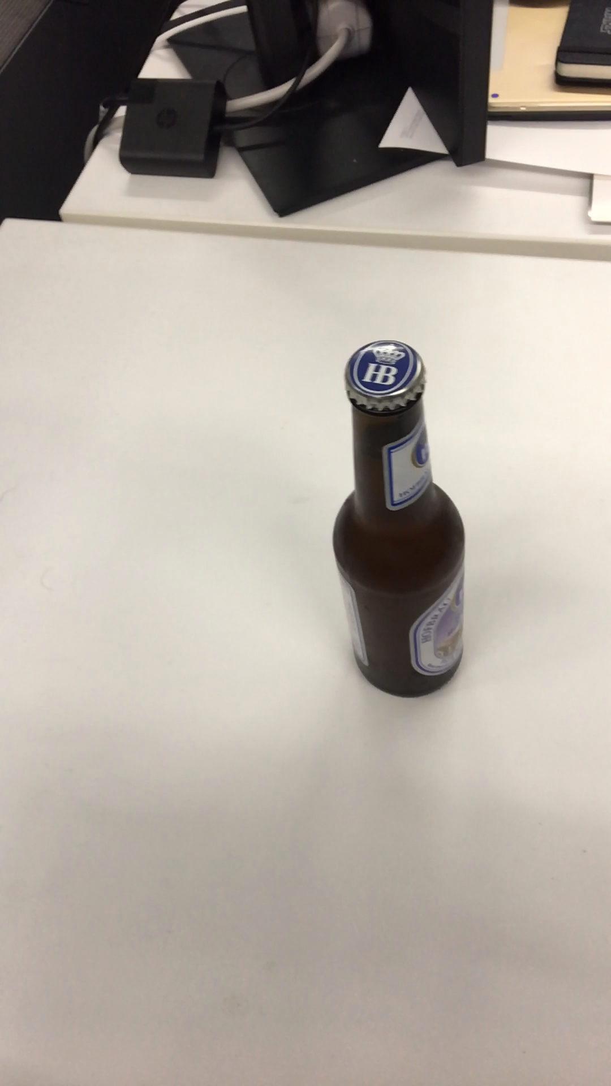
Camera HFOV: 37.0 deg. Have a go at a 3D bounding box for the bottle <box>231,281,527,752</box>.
[{"bbox_3d":[0.040,0.005,0.412,0.080,0.230,0.080,-4,57,6],"label":"bottle"}]
